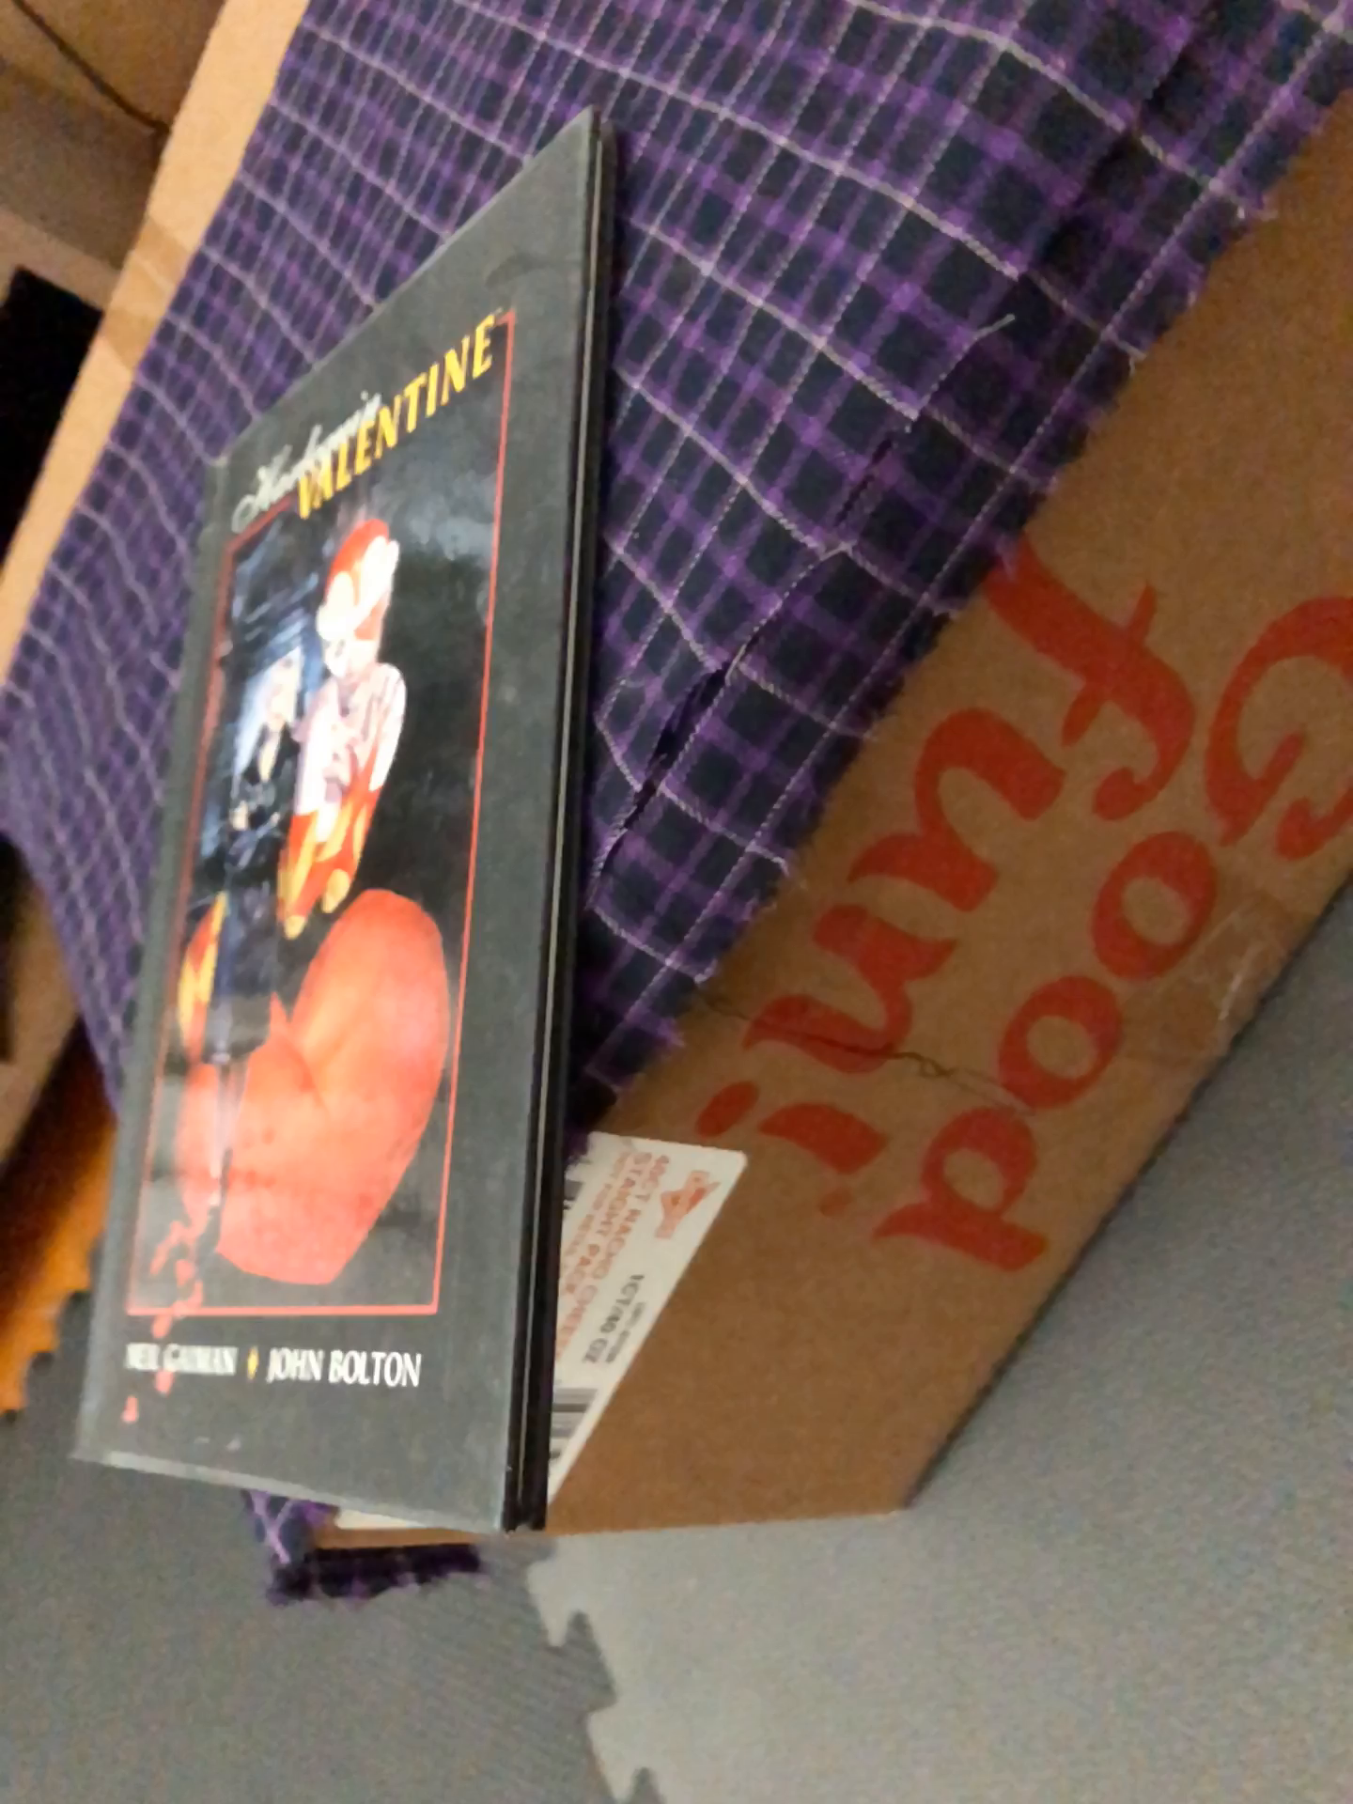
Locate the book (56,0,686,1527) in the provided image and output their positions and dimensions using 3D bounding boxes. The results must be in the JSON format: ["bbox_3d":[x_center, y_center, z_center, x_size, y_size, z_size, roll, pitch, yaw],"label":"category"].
[{"bbox_3d":[-0.069,-0.025,0.325,0.181,0.020,0.280,-18,63,46],"label":"book"}]
